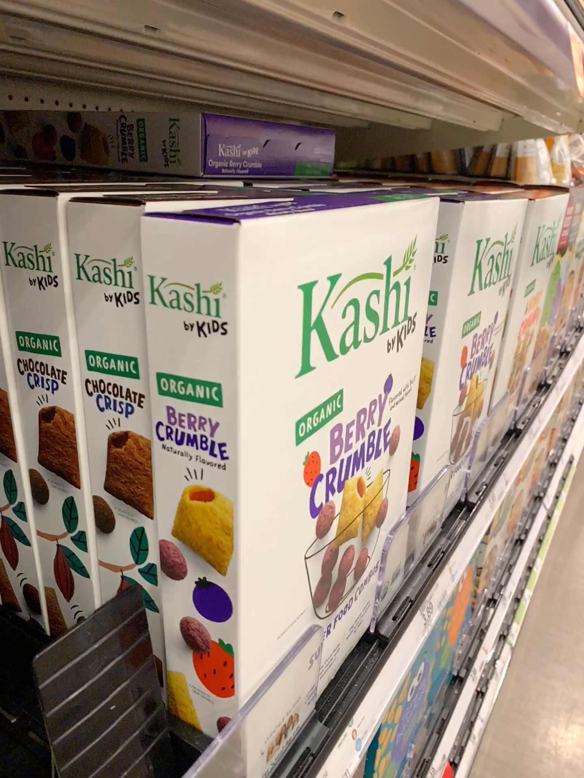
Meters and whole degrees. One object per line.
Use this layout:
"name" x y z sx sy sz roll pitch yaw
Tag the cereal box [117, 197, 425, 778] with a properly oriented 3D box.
"cereal box" 0.000 0.046 0.326 0.050 0.279 0.191 14 23 27
